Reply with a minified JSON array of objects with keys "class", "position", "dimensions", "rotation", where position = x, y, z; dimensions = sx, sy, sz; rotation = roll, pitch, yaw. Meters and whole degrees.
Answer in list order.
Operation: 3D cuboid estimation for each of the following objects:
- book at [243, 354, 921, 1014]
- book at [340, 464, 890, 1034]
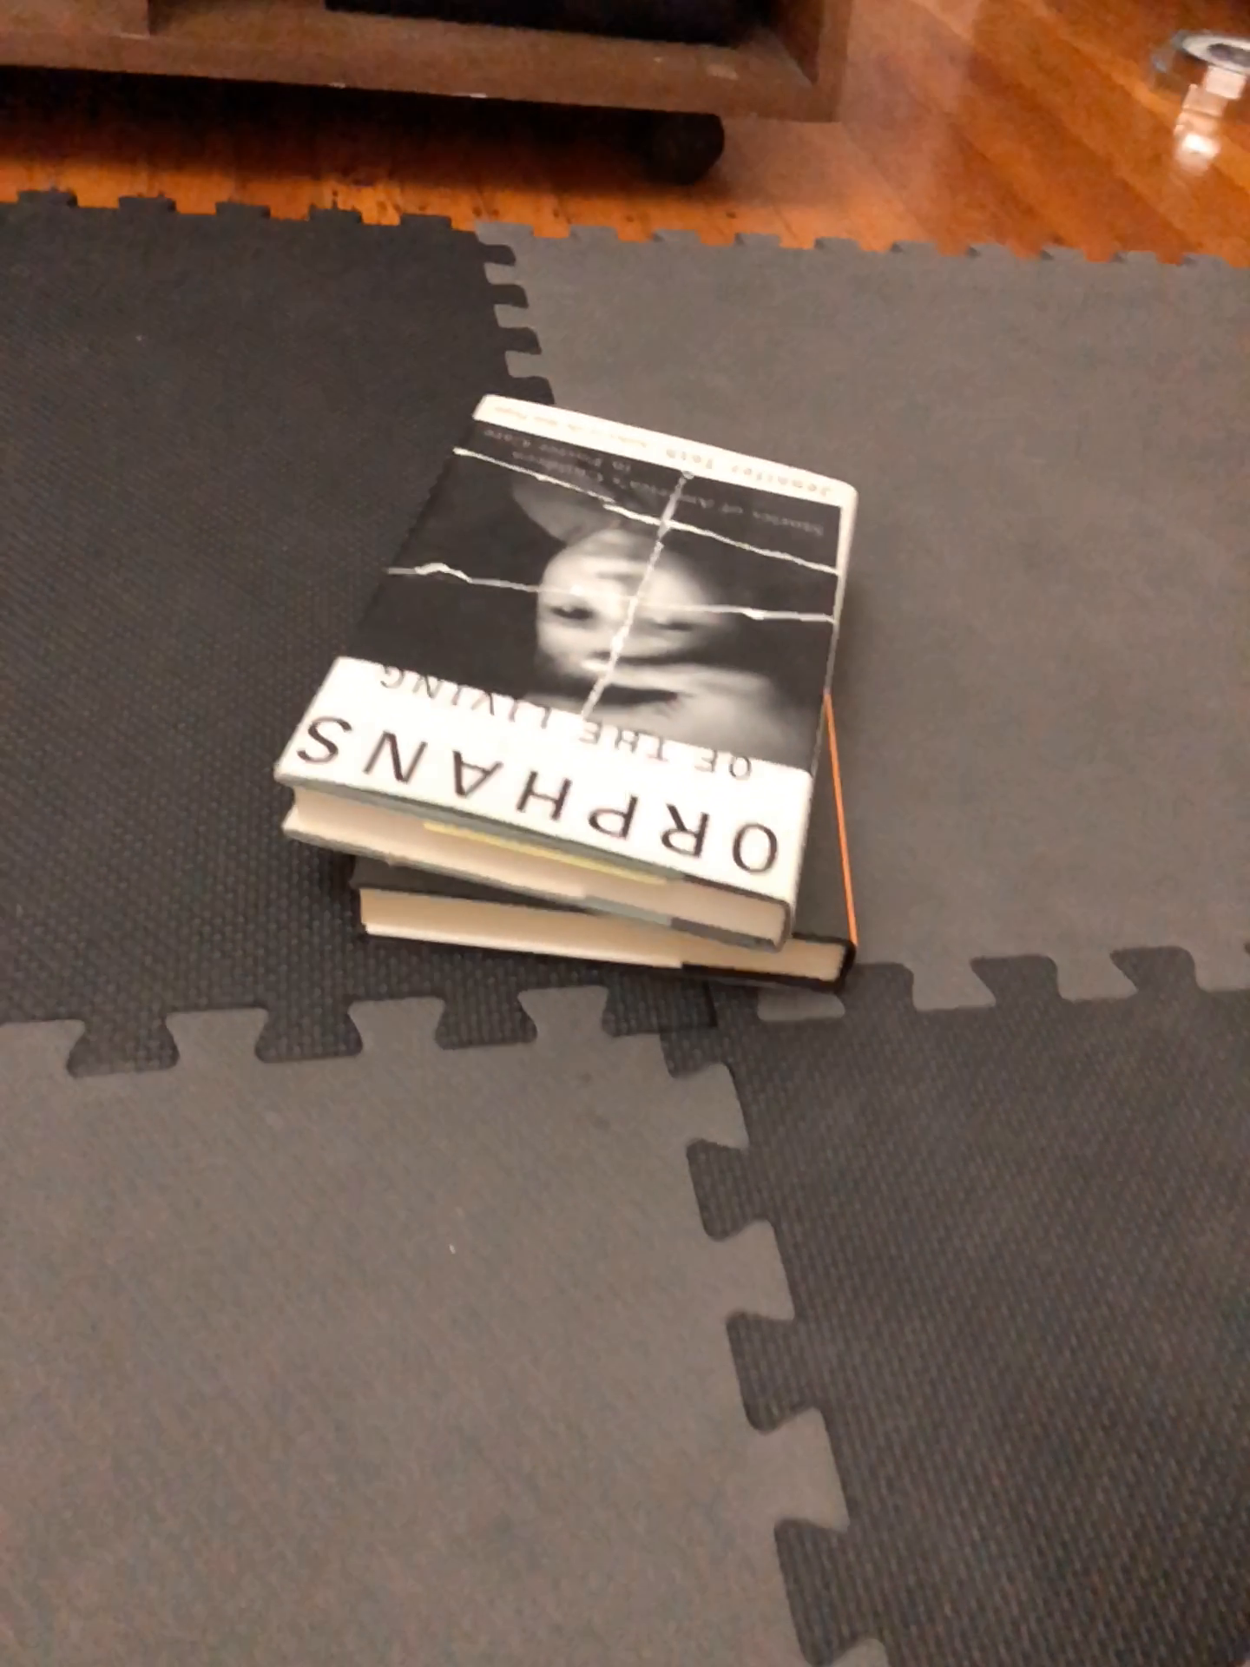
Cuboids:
[{"class":"book","position":[0.007,-0.075,0.485],"dimensions":[0.180,0.030,0.282],"rotation":[13,45,3]},{"class":"book","position":[-0.002,-0.045,0.496],"dimensions":[0.160,0.030,0.251],"rotation":[5,45,-5]}]
